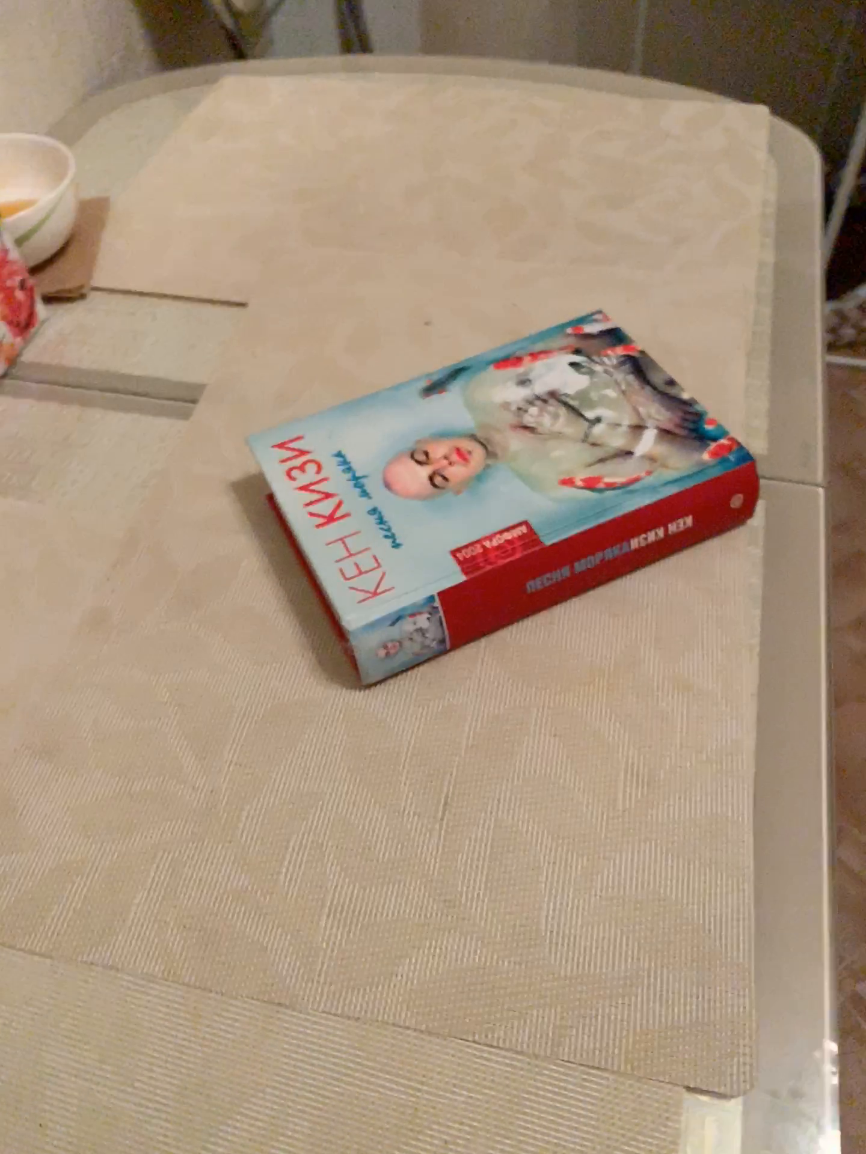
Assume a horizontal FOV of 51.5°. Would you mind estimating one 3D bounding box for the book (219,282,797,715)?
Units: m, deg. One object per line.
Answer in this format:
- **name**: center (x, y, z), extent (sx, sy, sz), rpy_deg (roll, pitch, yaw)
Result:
- **book**: center (0.028, -0.049, 0.415), extent (0.210, 0.040, 0.151), rpy_deg (-23, 54, -13)
